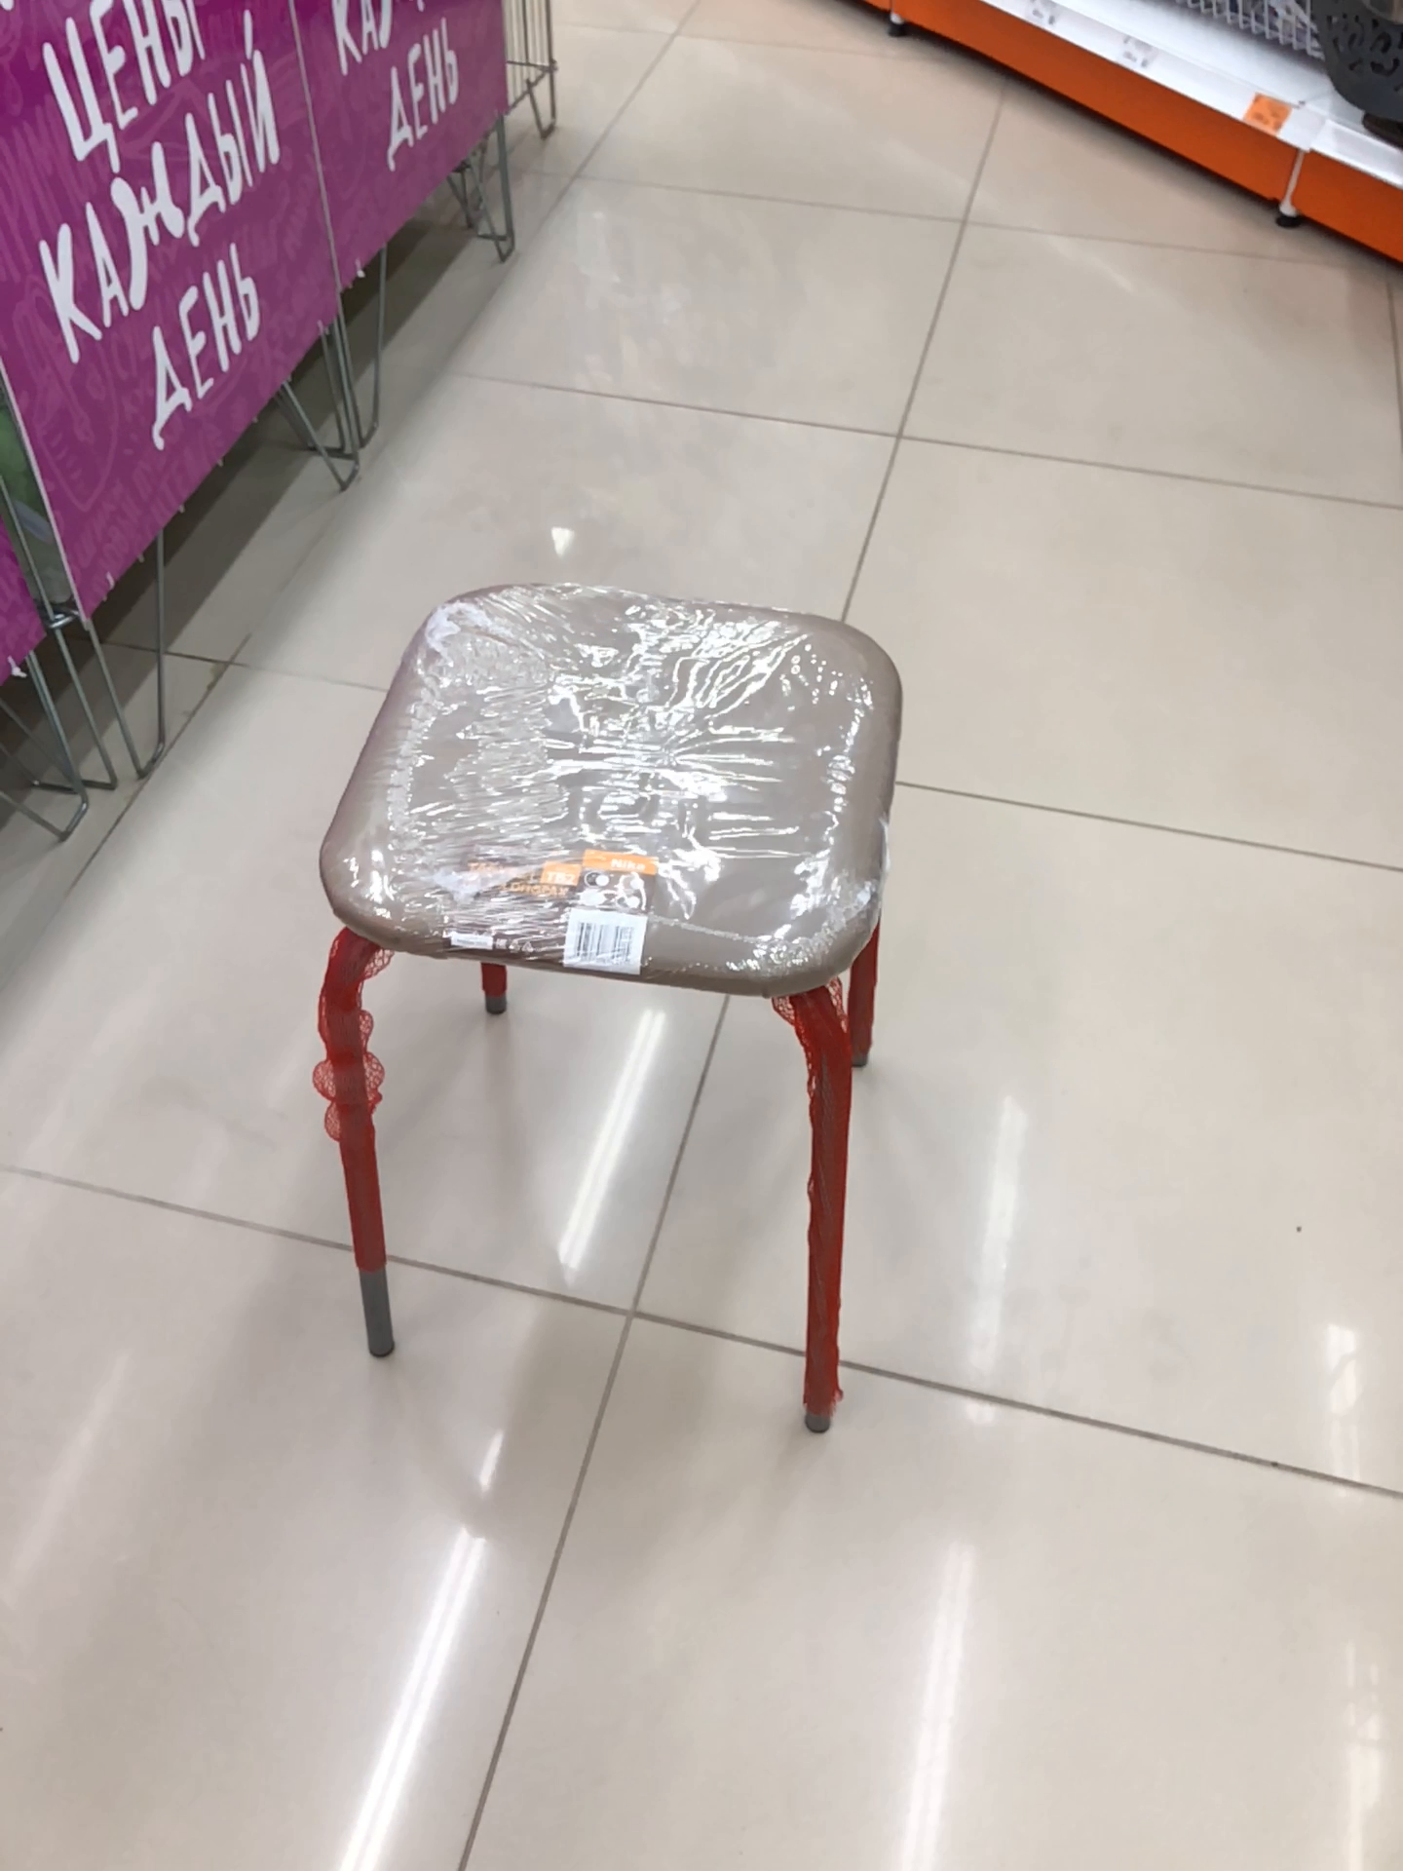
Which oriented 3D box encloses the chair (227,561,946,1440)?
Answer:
[{"bbox_3d":[-0.042,0.053,1.000,0.330,0.437,0.332,7,49,6],"label":"chair"}]
